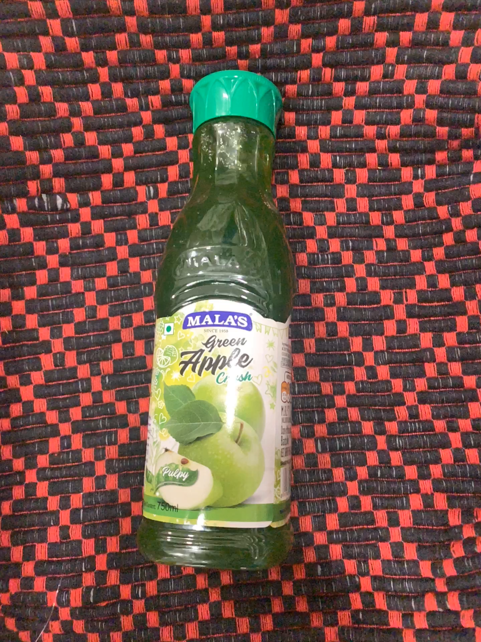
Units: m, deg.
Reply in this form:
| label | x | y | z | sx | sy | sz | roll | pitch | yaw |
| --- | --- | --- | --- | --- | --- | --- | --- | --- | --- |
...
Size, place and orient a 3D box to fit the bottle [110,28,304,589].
| label | x | y | z | sx | sy | sz | roll | pitch | yaw |
| --- | --- | --- | --- | --- | --- | --- | --- | --- | --- |
| bottle | -0.008 | -0.015 | 0.249 | 0.070 | 0.070 | 0.250 | 2 | 75 | 2 |
